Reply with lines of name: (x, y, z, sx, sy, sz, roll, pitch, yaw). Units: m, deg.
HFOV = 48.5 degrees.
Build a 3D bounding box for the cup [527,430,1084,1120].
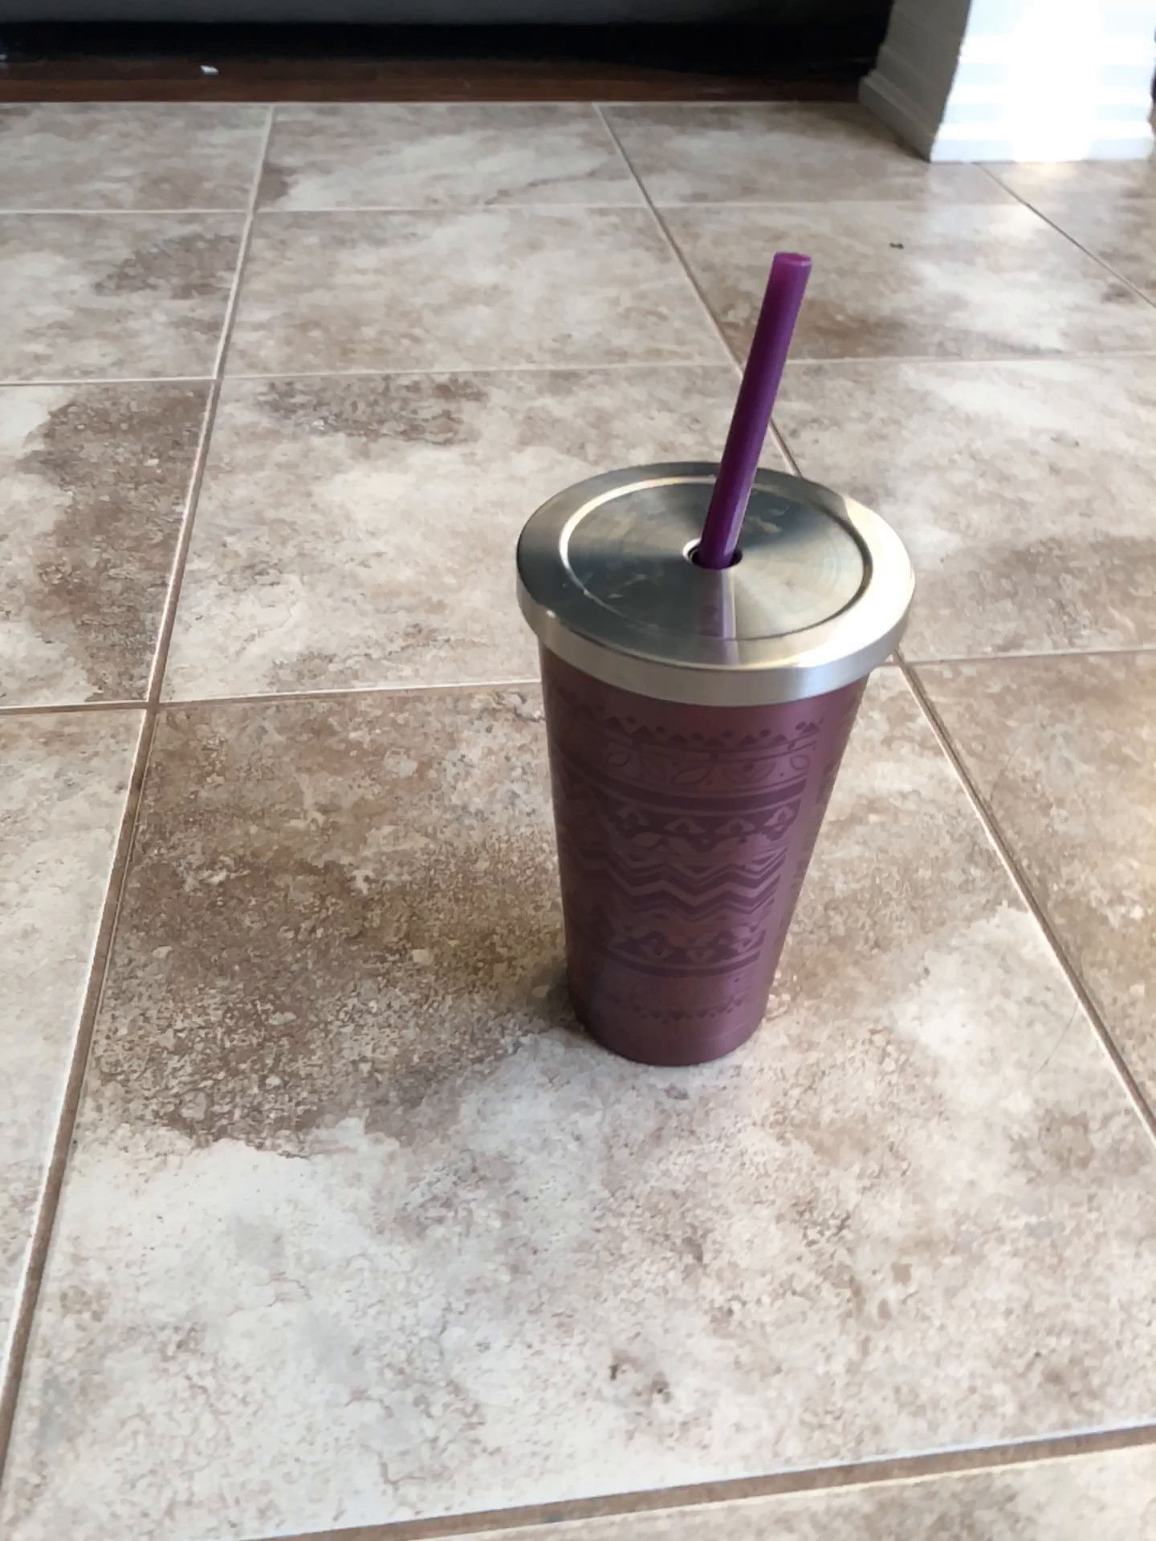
cup: (0.051, 0.002, 0.384, 0.111, 0.165, 0.103, 1, 40, -1)
